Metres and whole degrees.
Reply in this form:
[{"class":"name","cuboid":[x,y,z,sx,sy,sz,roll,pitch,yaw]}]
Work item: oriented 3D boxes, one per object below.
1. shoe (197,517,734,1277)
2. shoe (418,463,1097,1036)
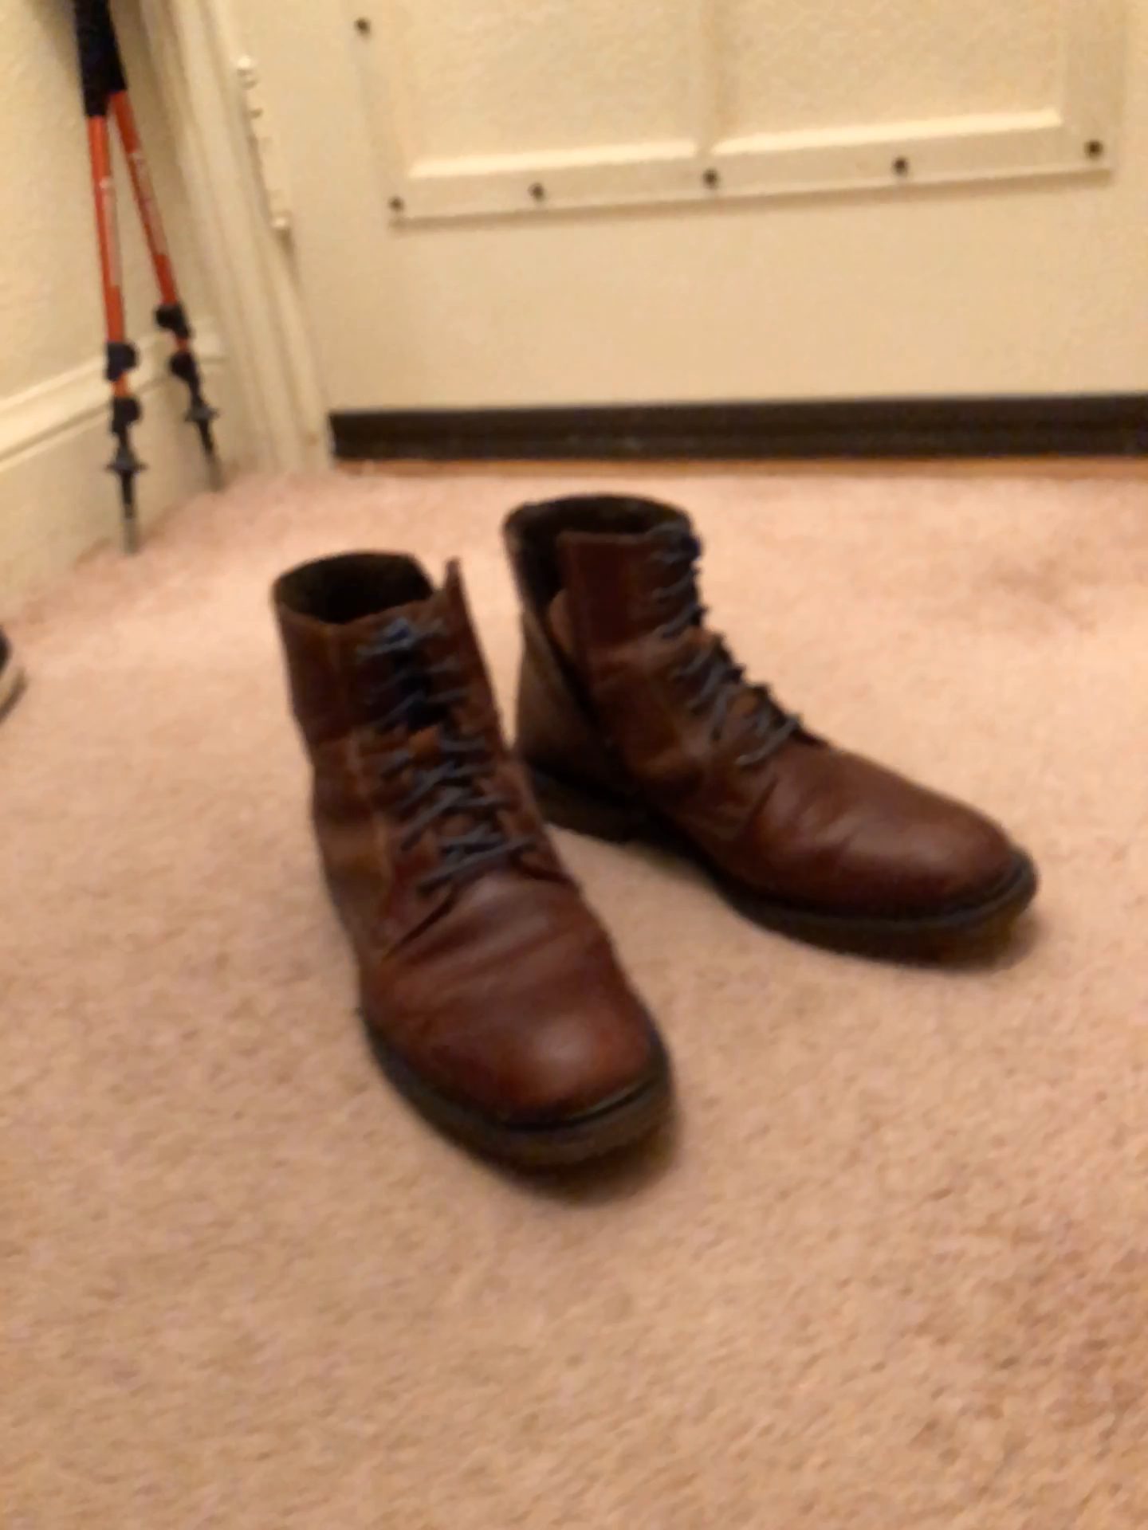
[{"class":"shoe","cuboid":[-0.062,0.029,0.576,0.113,0.172,0.317,-18,33,-17]},{"class":"shoe","cuboid":[0.077,-0.026,0.634,0.302,0.172,0.110,22,42,40]}]
